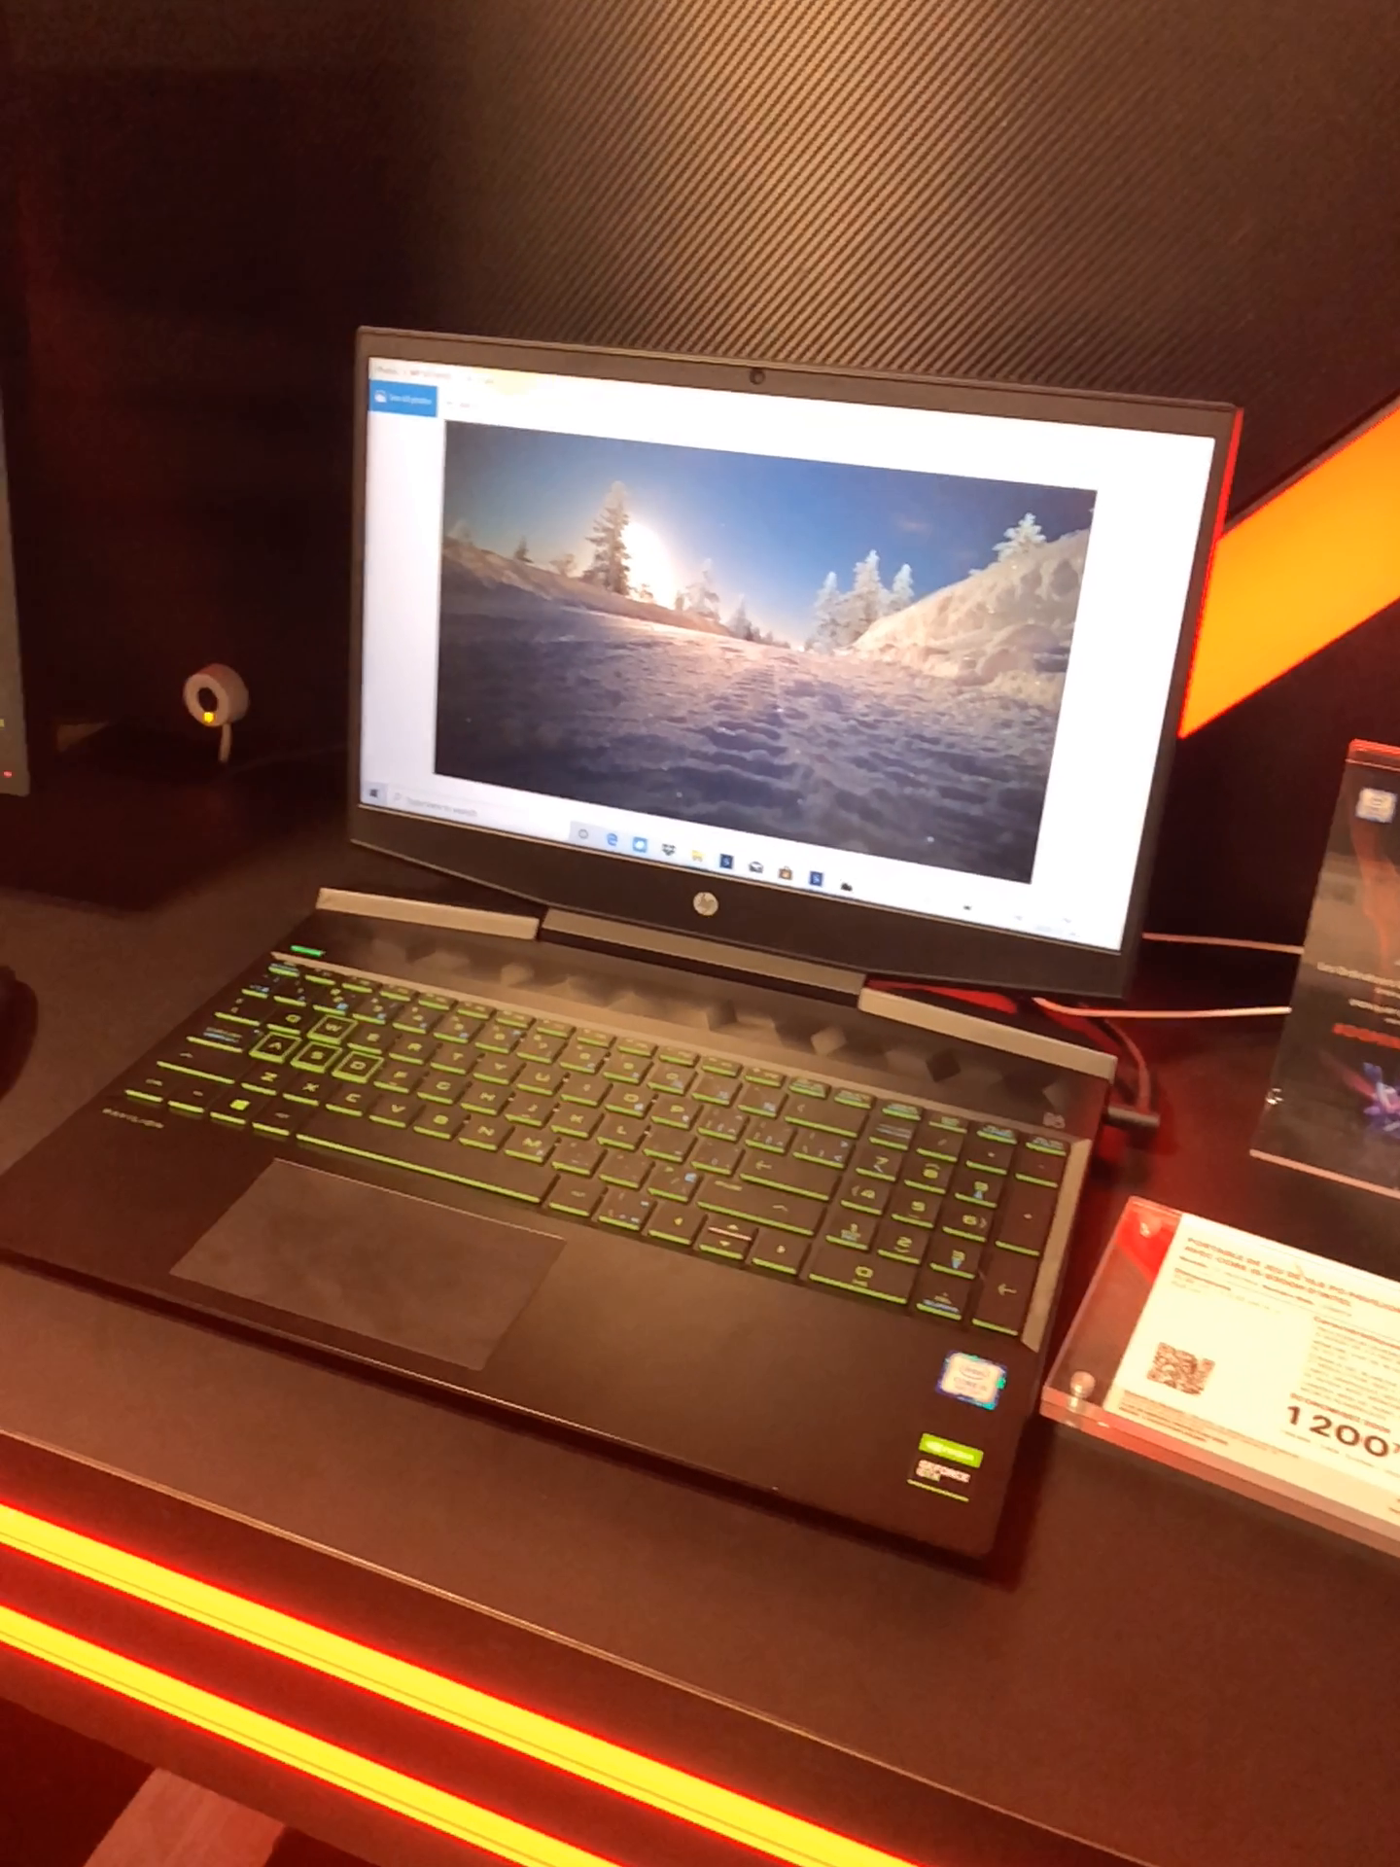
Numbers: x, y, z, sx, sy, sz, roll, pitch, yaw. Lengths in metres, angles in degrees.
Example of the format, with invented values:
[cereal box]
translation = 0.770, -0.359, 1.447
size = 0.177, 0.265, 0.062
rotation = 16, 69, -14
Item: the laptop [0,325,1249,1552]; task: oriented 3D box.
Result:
[laptop]
translation = -0.027, -0.050, 0.540
size = 0.355, 0.240, 0.315
rotation = 11, 31, 19
